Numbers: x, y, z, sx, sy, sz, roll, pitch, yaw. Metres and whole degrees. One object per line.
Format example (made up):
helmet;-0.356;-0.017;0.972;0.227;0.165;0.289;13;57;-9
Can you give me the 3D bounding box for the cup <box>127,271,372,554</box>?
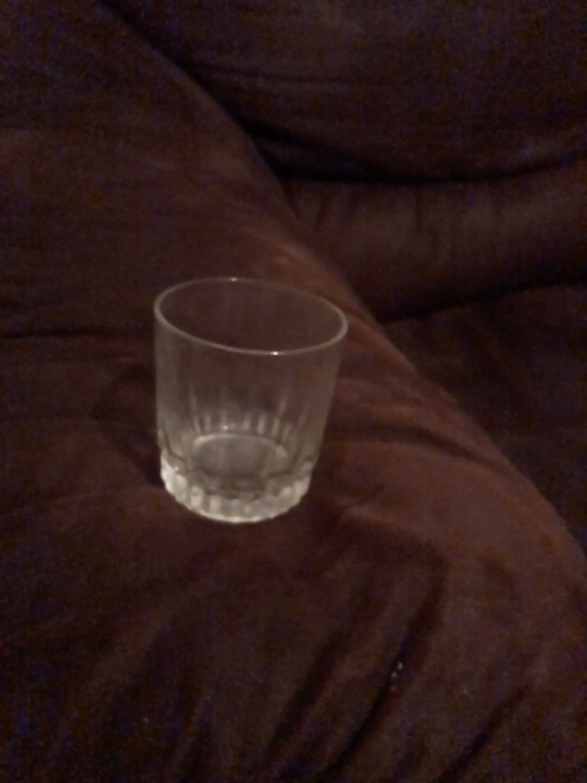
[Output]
cup;-0.020;0.005;0.290;0.086;0.086;0.087;5;26;-2
